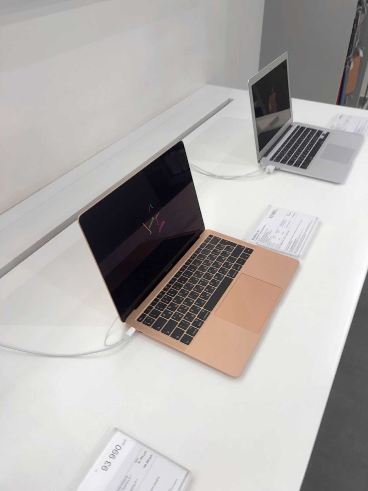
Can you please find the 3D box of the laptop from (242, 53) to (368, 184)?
[{"bbox_3d":[0.365,-0.380,1.142,0.283,0.209,0.365,18,41,22],"label":"laptop"}]

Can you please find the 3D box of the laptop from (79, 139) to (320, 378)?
[{"bbox_3d":[0.040,-0.007,0.678,0.264,0.188,0.298,20,43,23],"label":"laptop"}]

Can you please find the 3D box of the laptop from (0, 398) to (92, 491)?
[{"bbox_3d":[-0.258,0.332,0.247,0.248,0.204,0.295,20,43,23],"label":"laptop"}]
